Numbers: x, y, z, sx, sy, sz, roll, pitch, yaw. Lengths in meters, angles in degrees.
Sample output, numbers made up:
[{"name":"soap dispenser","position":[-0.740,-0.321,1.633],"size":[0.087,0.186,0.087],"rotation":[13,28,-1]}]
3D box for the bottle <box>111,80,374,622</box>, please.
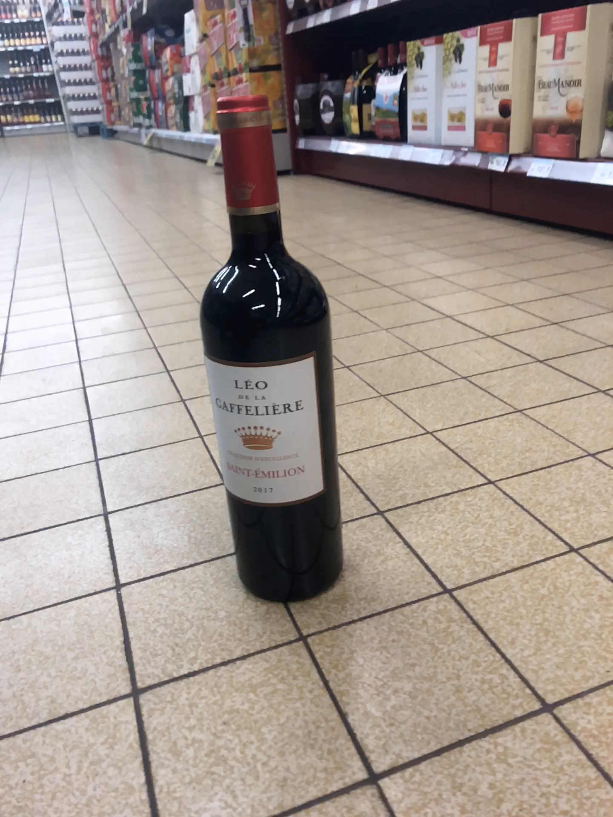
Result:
[{"name":"bottle","position":[-0.022,-0.029,0.392],"size":[0.090,0.287,0.091],"rotation":[-4,24,2]}]
